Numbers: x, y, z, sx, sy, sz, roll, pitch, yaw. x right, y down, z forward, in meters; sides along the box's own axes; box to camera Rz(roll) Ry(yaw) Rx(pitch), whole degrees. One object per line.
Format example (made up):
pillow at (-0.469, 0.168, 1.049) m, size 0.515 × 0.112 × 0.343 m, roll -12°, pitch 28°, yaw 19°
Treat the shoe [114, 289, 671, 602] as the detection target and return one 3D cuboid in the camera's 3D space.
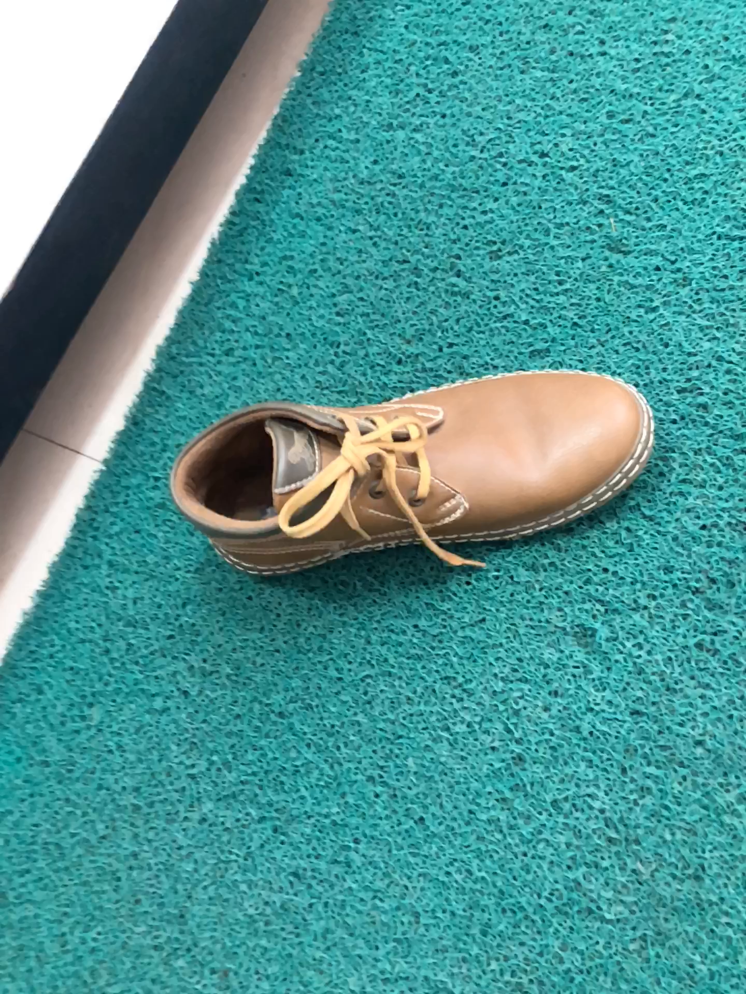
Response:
shoe at (0.006, -0.017, 0.447) m, size 0.280 × 0.080 × 0.100 m, roll -9°, pitch 69°, yaw 17°
